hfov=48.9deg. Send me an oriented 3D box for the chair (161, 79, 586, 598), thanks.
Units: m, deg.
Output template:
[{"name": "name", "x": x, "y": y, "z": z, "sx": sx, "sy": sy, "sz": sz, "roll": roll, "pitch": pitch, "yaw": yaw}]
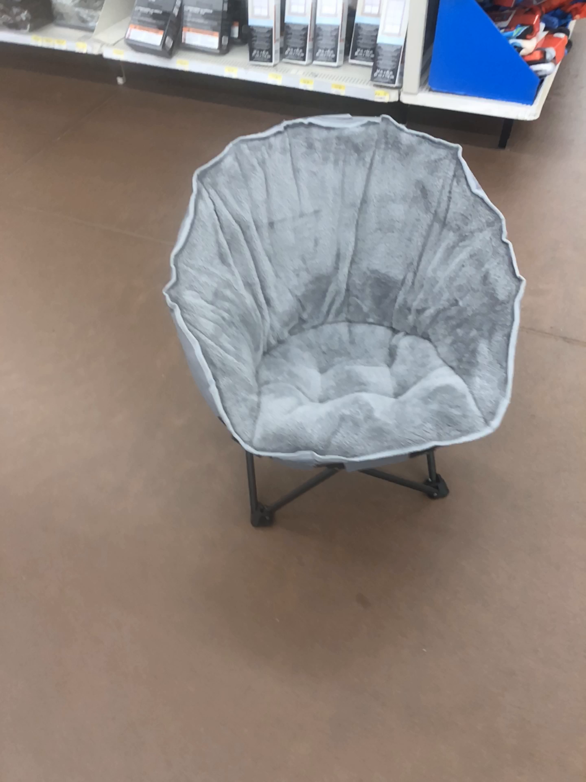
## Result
[{"name": "chair", "x": 0.116, "y": -0.104, "z": 1.107, "sx": 0.570, "sy": 0.528, "sz": 0.632, "roll": -8, "pitch": 48, "yaw": -4}]
